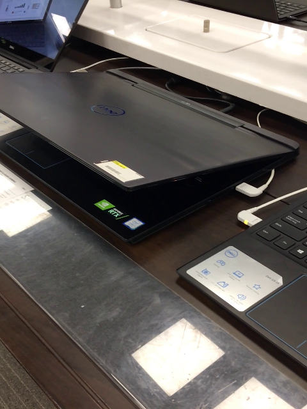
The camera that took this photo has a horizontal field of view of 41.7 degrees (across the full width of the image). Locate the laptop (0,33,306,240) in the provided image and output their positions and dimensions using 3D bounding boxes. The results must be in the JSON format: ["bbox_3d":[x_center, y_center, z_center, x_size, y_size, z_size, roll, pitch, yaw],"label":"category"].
[{"bbox_3d":[-0.065,-0.135,0.603,0.281,0.085,0.408,-34,51,-27],"label":"laptop"}]
